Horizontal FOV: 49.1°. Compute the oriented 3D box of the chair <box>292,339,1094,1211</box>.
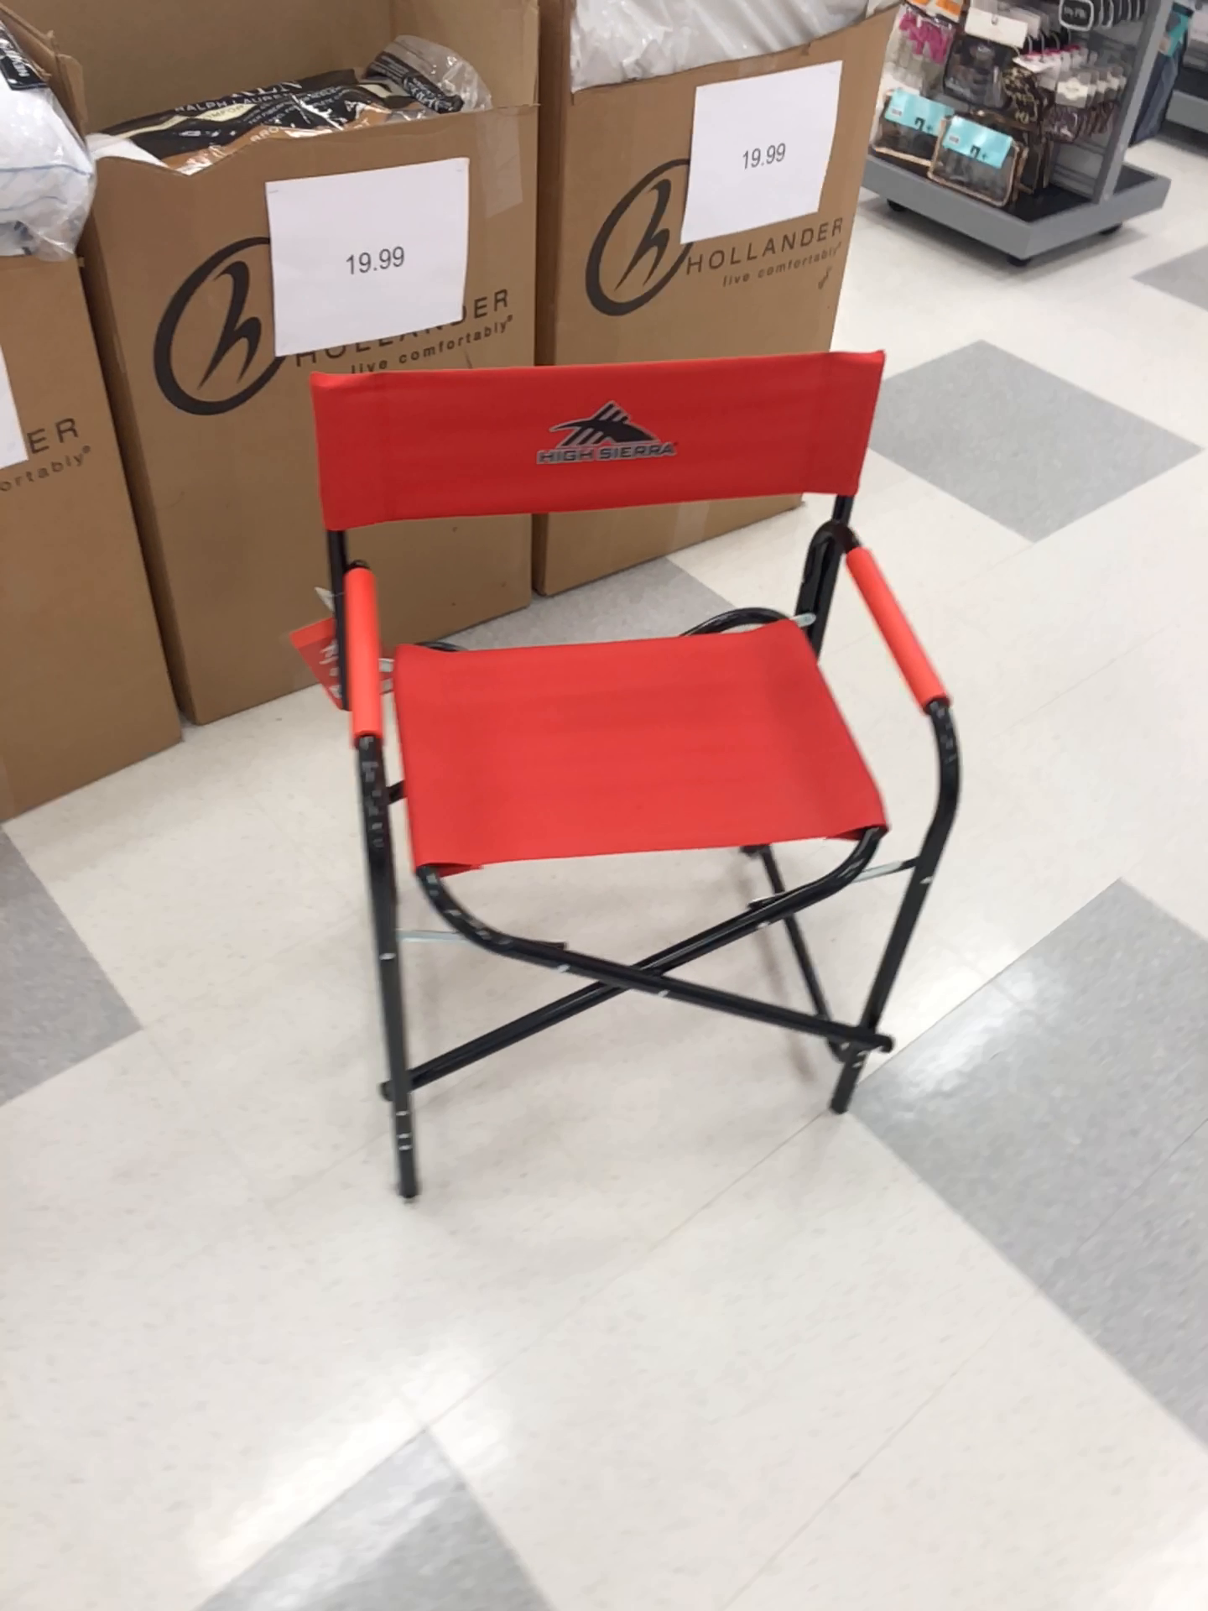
[{"bbox_3d":[0.021,-0.021,1.397,0.593,0.729,0.491,-6,46,-10],"label":"chair"}]
